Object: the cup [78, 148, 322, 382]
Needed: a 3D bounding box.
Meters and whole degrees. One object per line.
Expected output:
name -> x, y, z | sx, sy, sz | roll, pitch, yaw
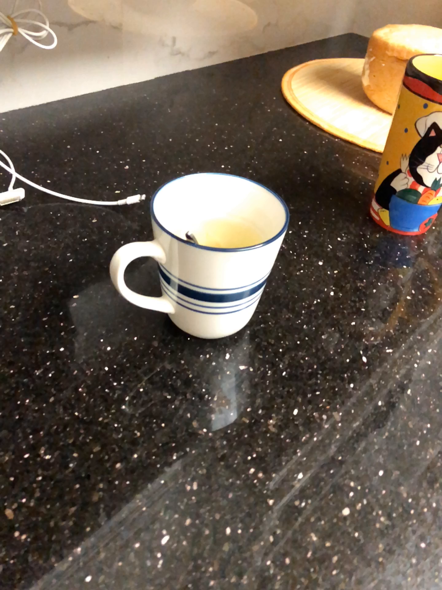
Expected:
cup -> -0.019, -0.024, 0.326 | 0.120, 0.099, 0.090 | -15, 47, -23
